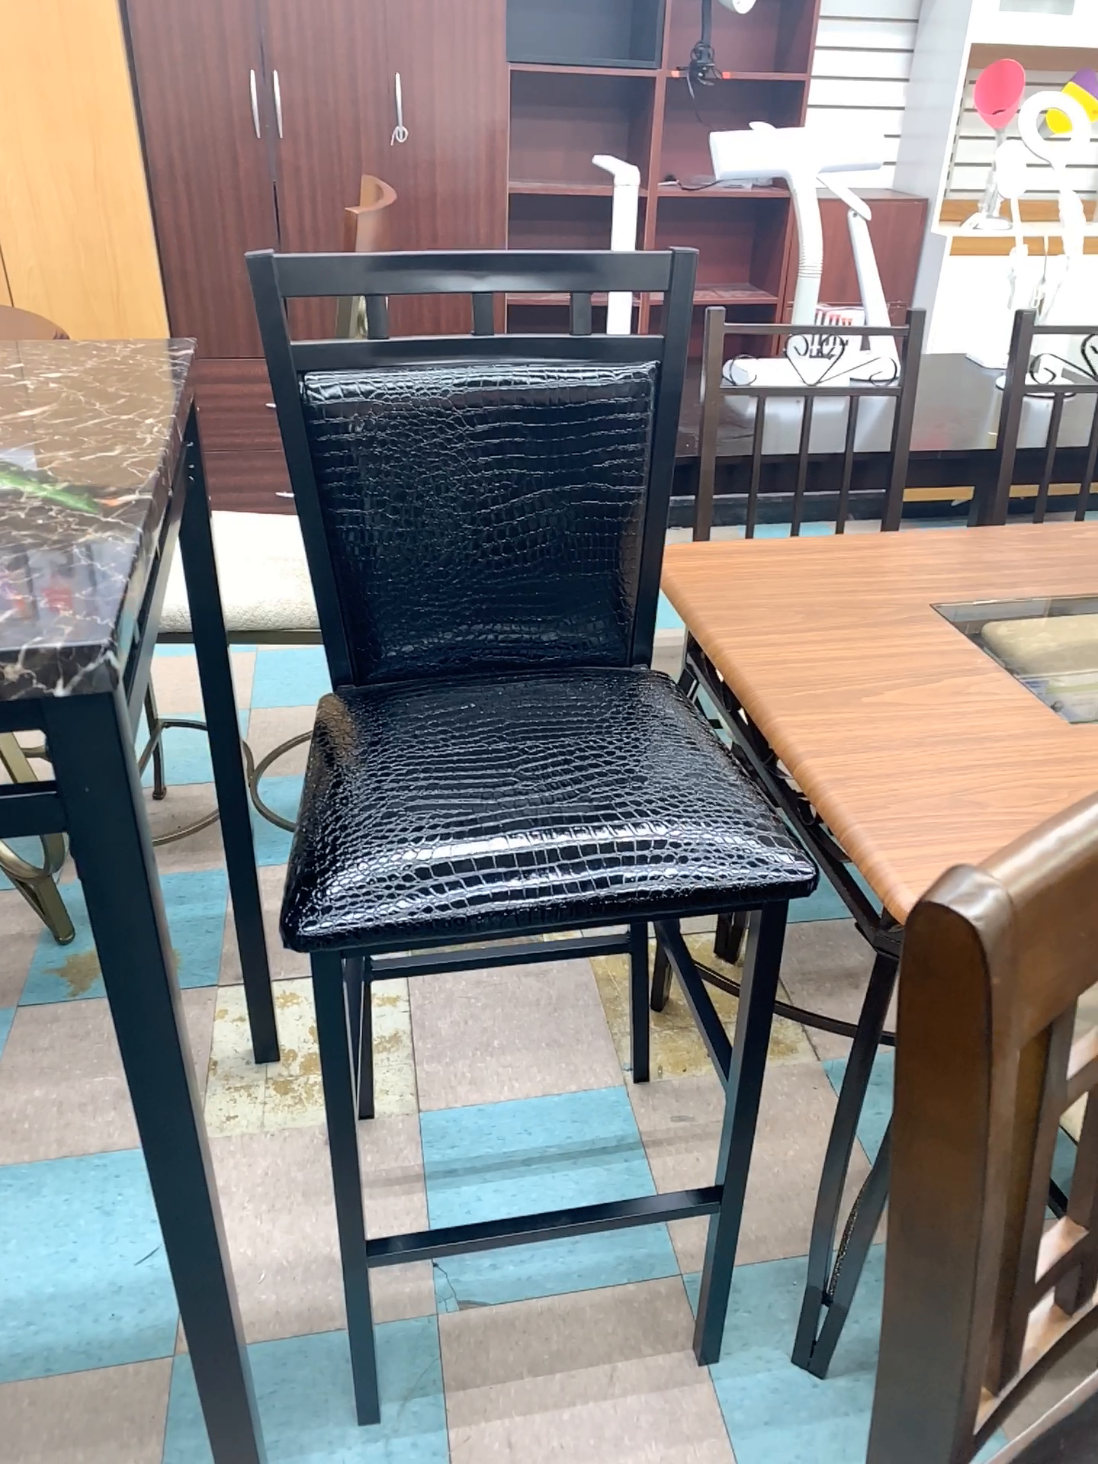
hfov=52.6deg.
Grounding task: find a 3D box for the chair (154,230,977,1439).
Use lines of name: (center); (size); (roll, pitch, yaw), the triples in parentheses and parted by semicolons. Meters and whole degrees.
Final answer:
chair: (-0.020, 0.122, 1.028); (0.444, 1.025, 0.419); (-4, 31, -8)
